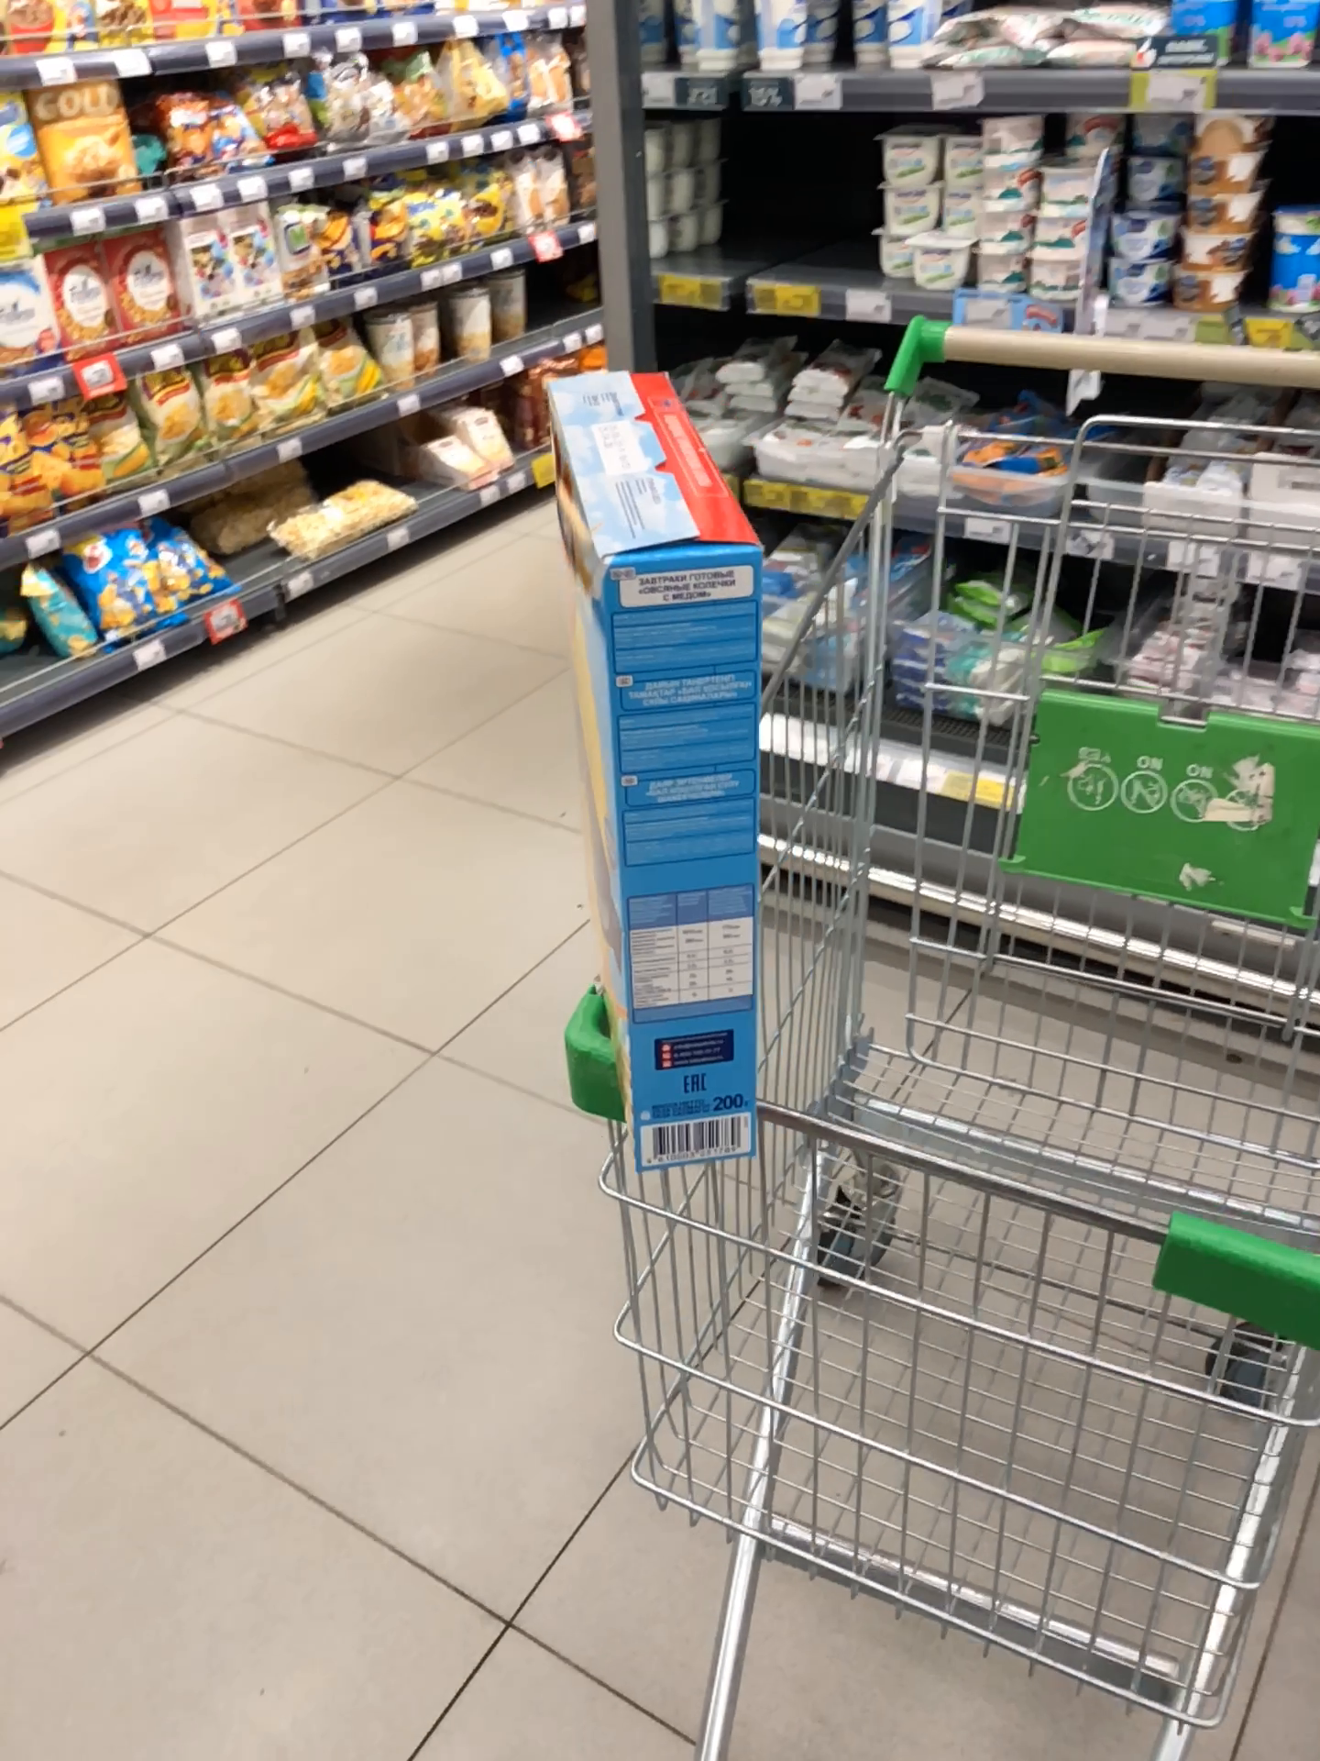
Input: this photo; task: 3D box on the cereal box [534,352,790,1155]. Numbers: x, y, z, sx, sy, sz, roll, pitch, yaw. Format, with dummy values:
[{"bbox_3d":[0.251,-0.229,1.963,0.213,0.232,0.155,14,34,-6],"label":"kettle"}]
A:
[{"bbox_3d":[-0.001,-0.055,0.578,0.060,0.248,0.201,-7,34,-6],"label":"cereal box"}]
